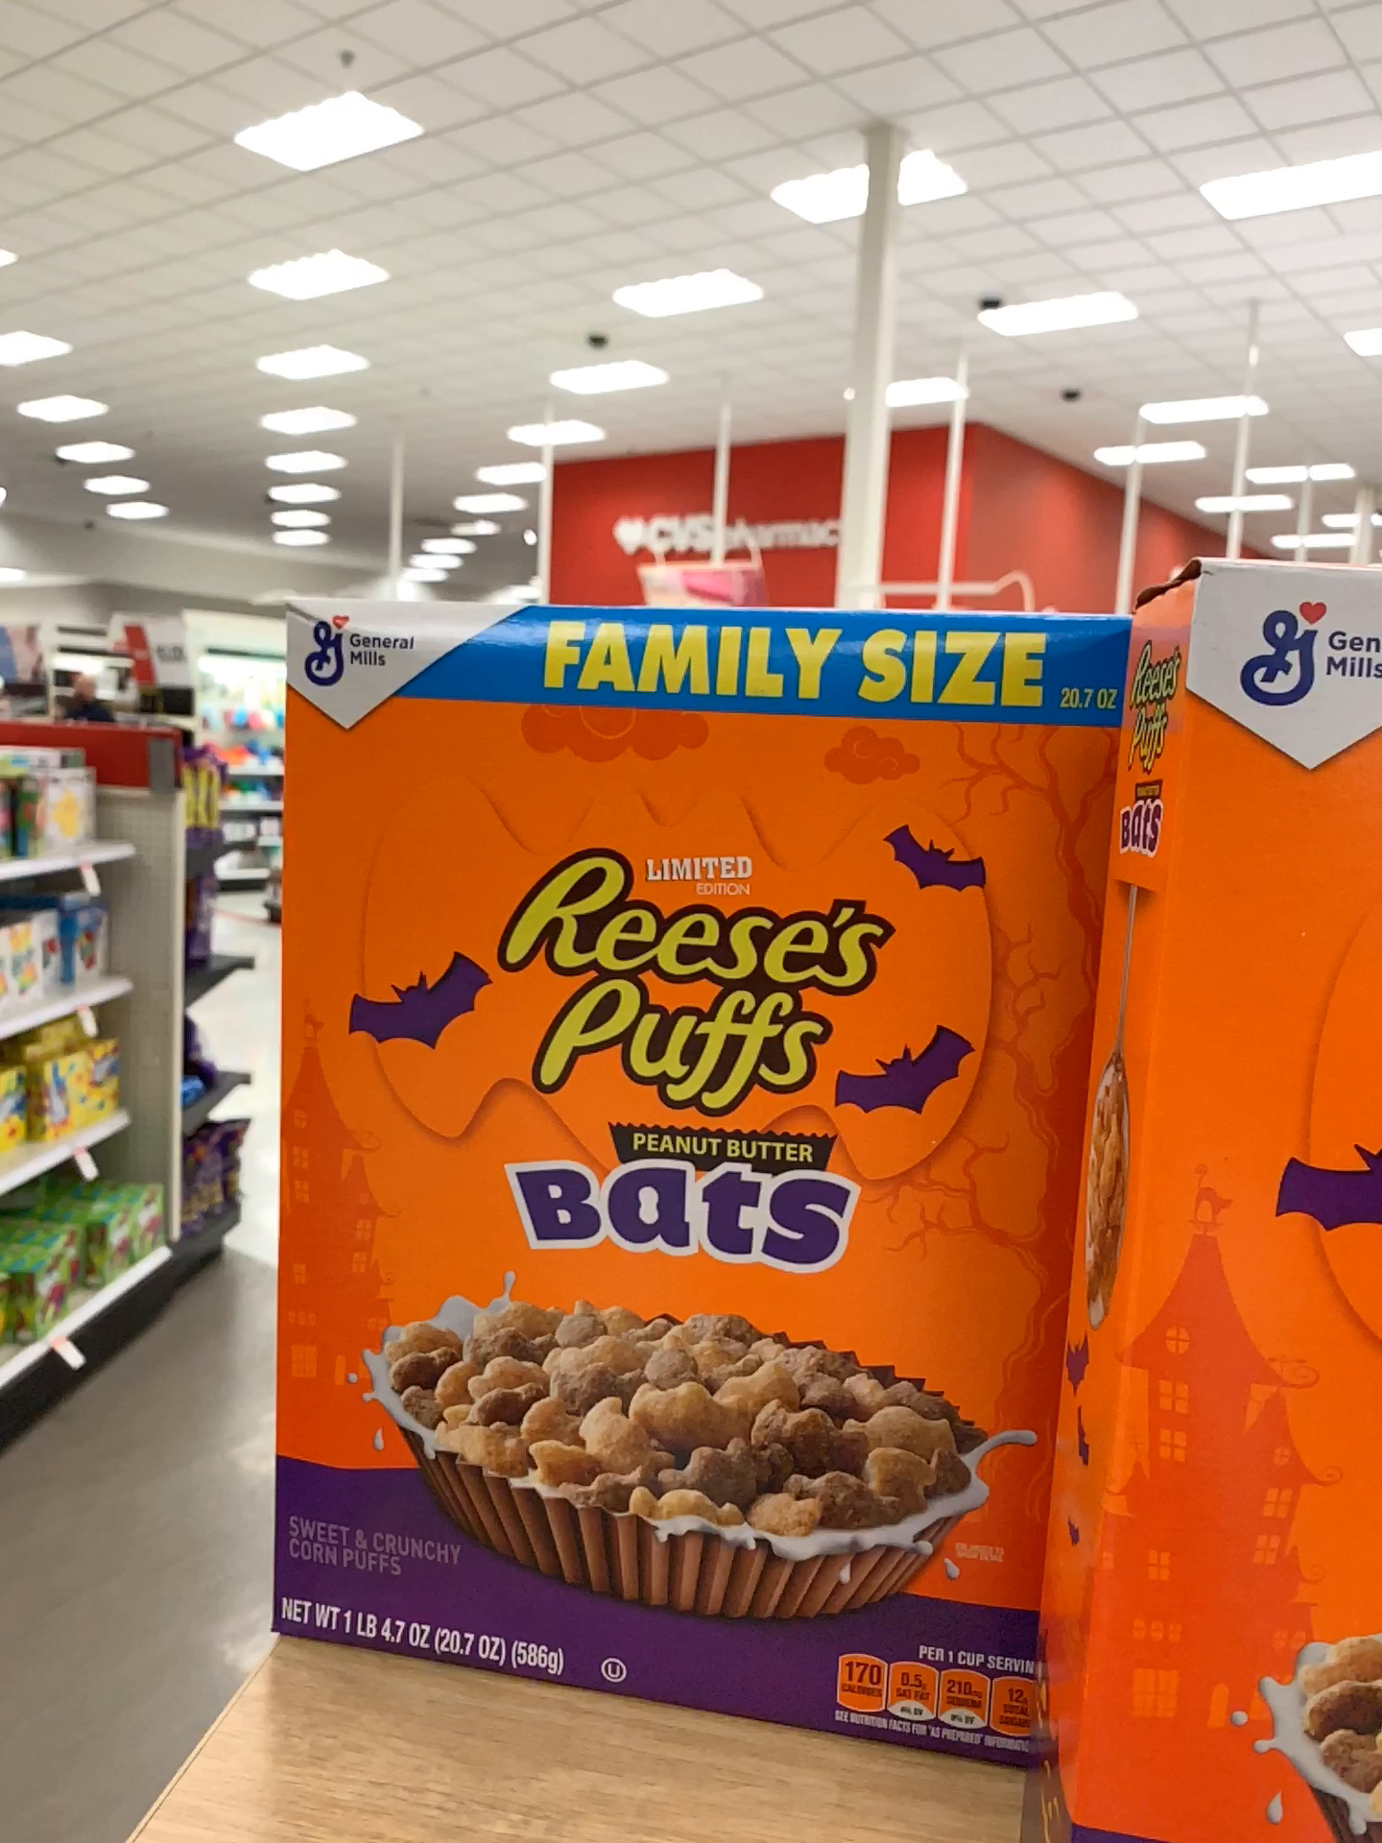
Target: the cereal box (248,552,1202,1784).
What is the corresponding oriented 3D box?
[{"bbox_3d":[0.002,0.059,0.413,0.240,0.309,0.070,4,7,11],"label":"cereal box"}]
